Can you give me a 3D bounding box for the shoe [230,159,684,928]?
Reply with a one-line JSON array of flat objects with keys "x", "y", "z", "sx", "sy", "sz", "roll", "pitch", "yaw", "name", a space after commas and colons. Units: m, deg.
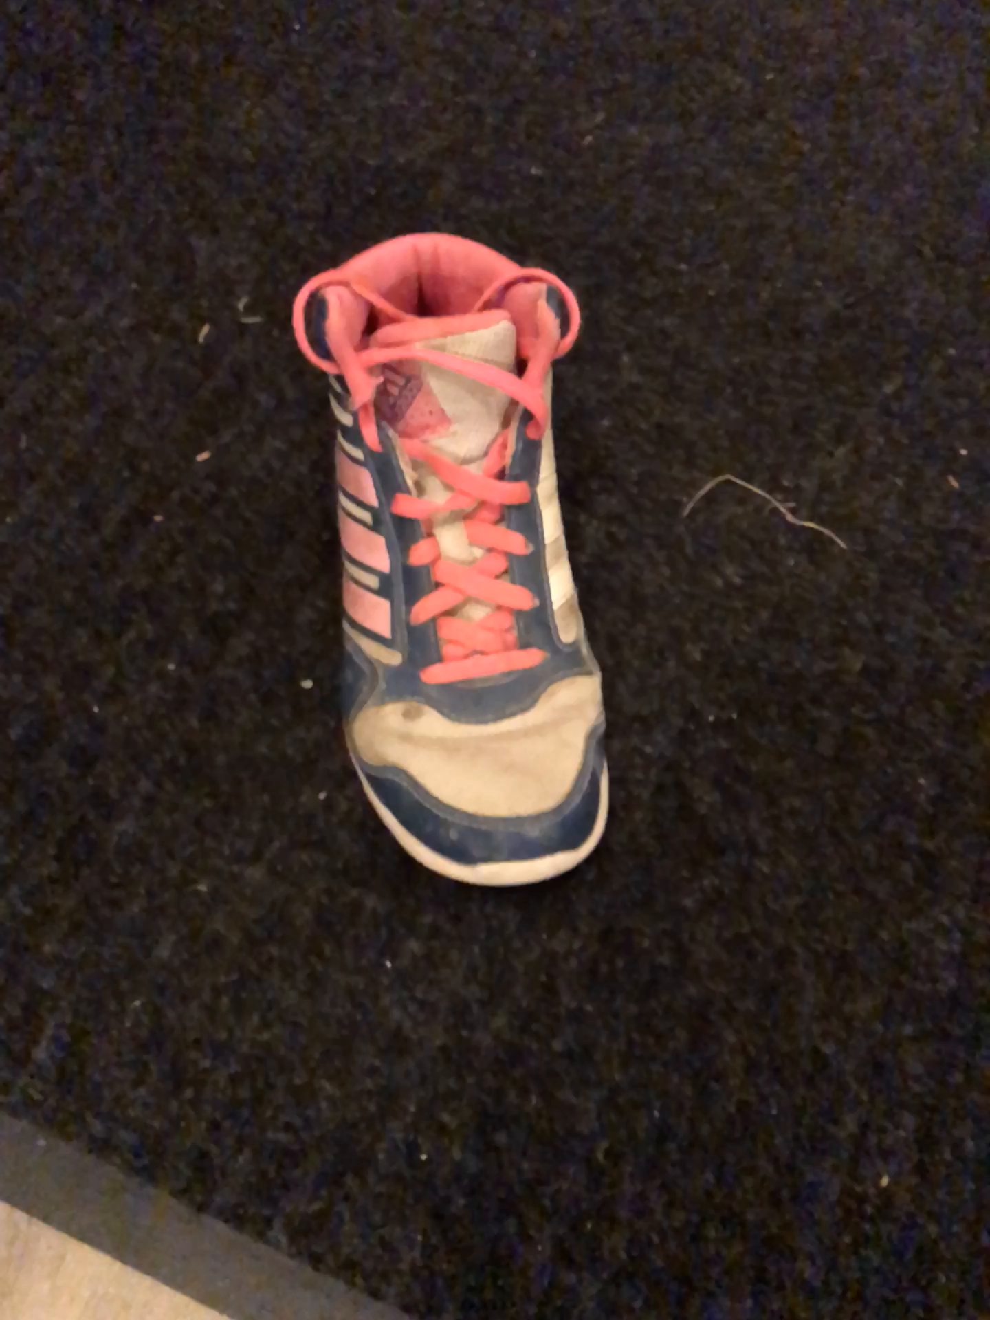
[{"x": -0.019, "y": -0.039, "z": 0.334, "sx": 0.090, "sy": 0.100, "sz": 0.200, "roll": -8, "pitch": 60, "yaw": -5, "name": "shoe"}]
